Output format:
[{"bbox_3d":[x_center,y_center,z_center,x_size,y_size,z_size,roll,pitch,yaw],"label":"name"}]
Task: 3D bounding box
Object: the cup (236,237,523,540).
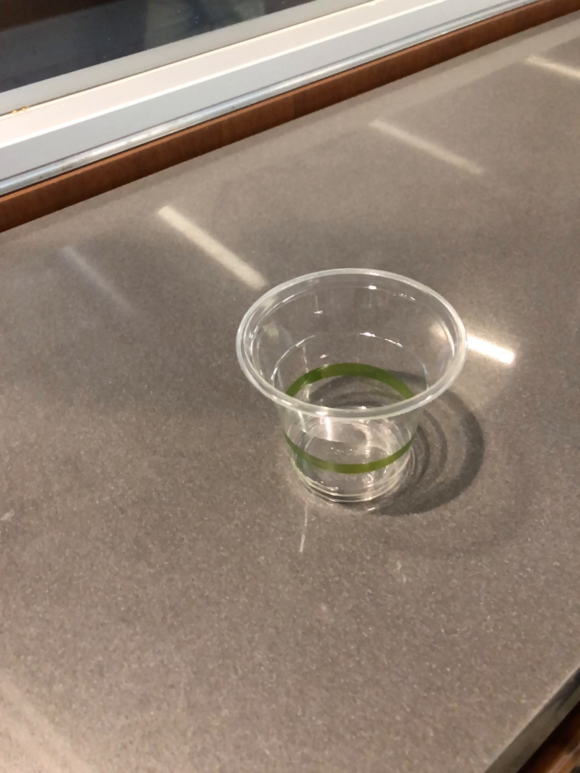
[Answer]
[{"bbox_3d":[0.025,-0.001,0.222,0.070,0.060,0.070,-3,43,3],"label":"cup"}]
